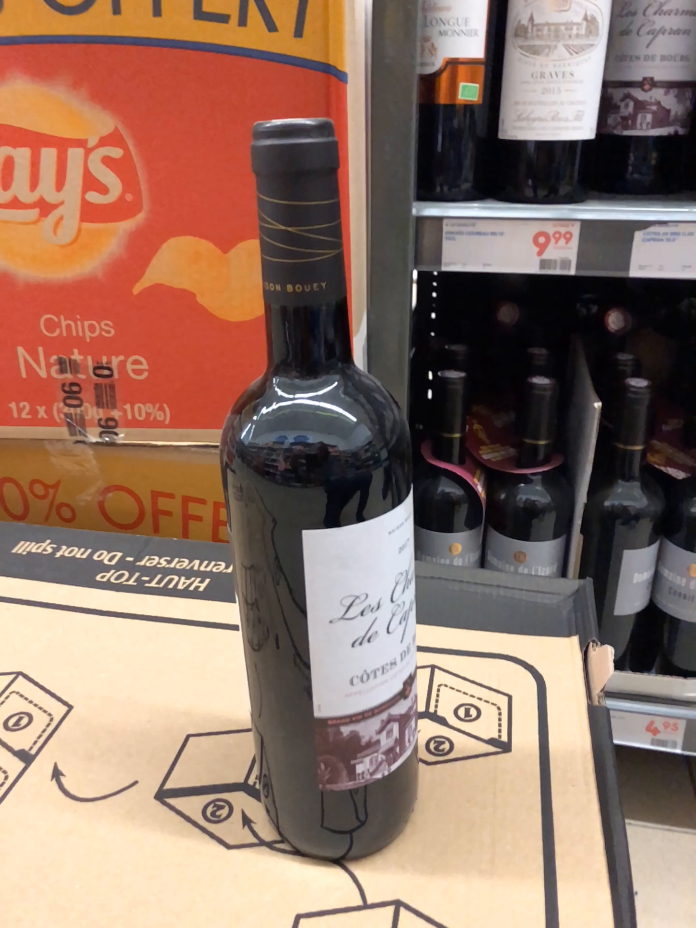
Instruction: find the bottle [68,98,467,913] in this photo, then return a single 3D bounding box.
[{"bbox_3d":[-0.018,0.020,0.295,0.090,0.288,0.091,0,24,0],"label":"bottle"}]
